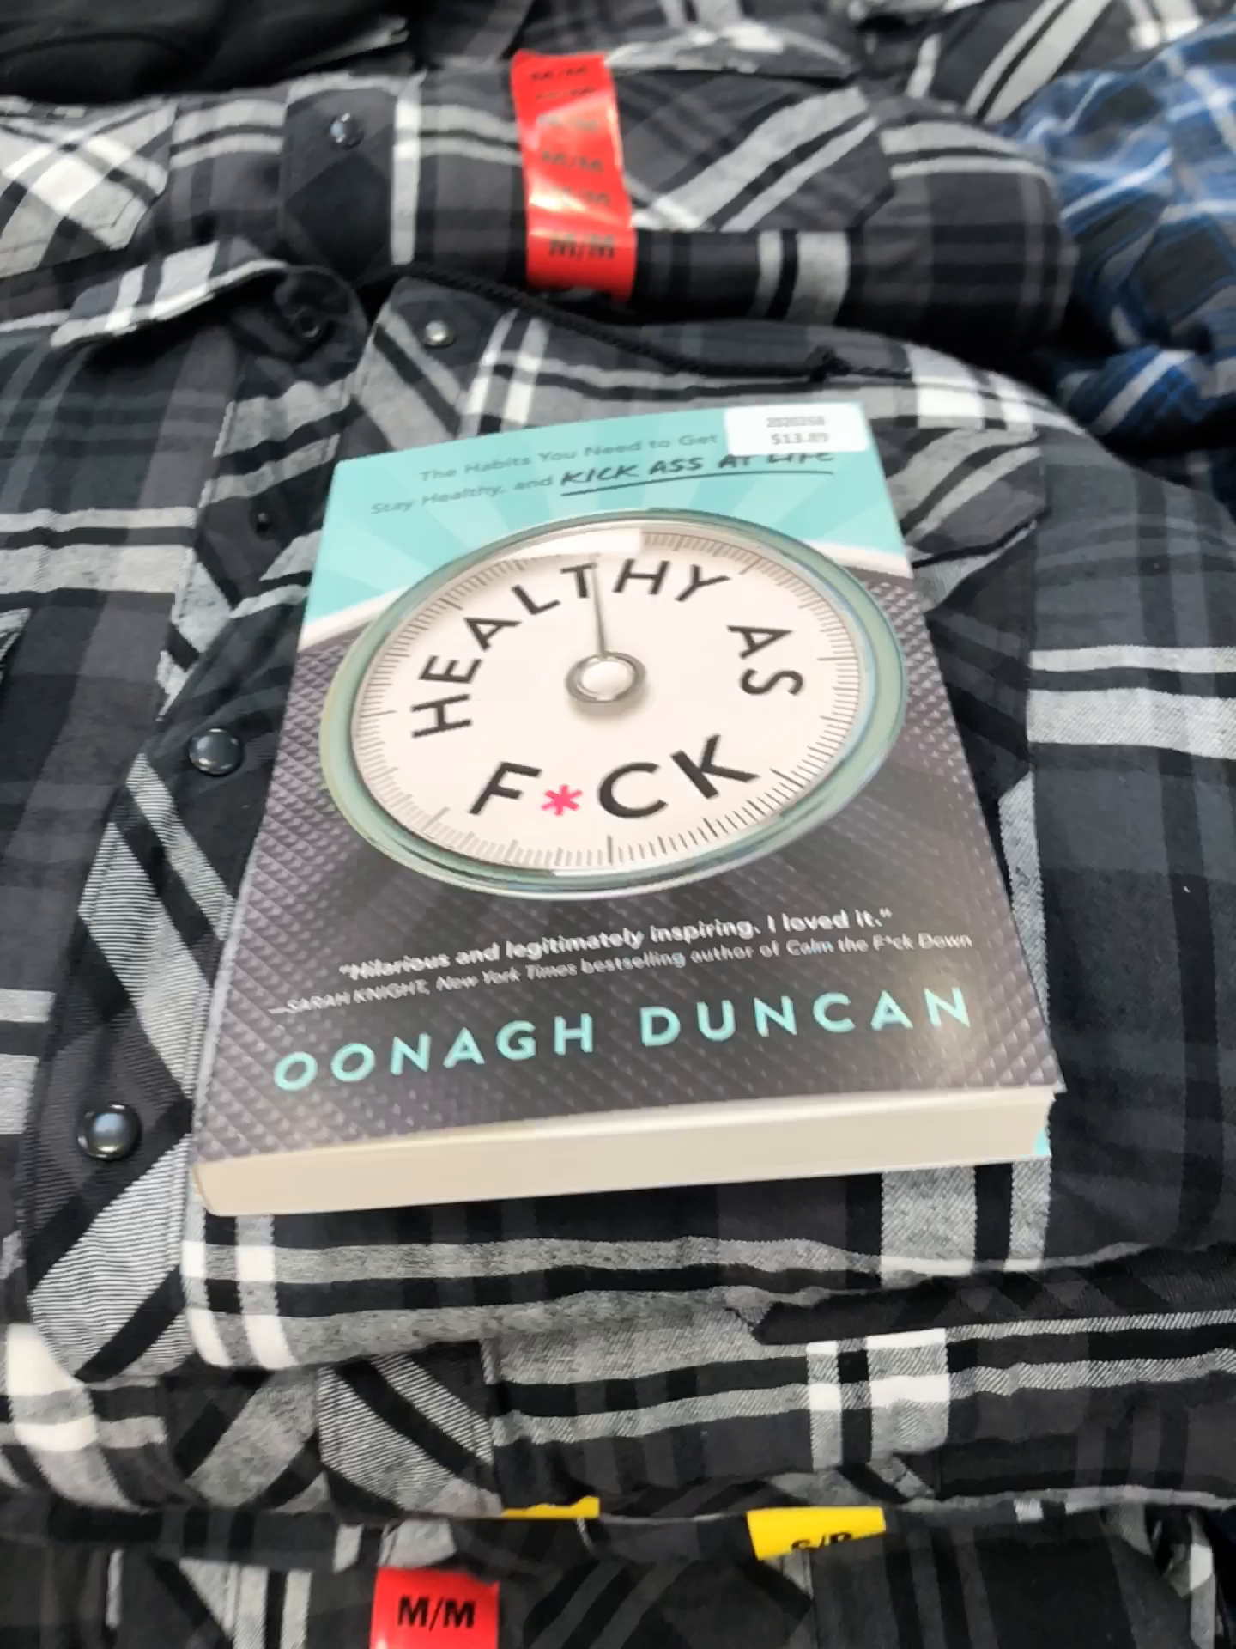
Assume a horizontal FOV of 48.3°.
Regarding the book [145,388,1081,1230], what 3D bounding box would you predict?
[{"bbox_3d":[-0.004,-0.026,0.324,0.156,0.028,0.238,-4,45,1],"label":"book"}]
